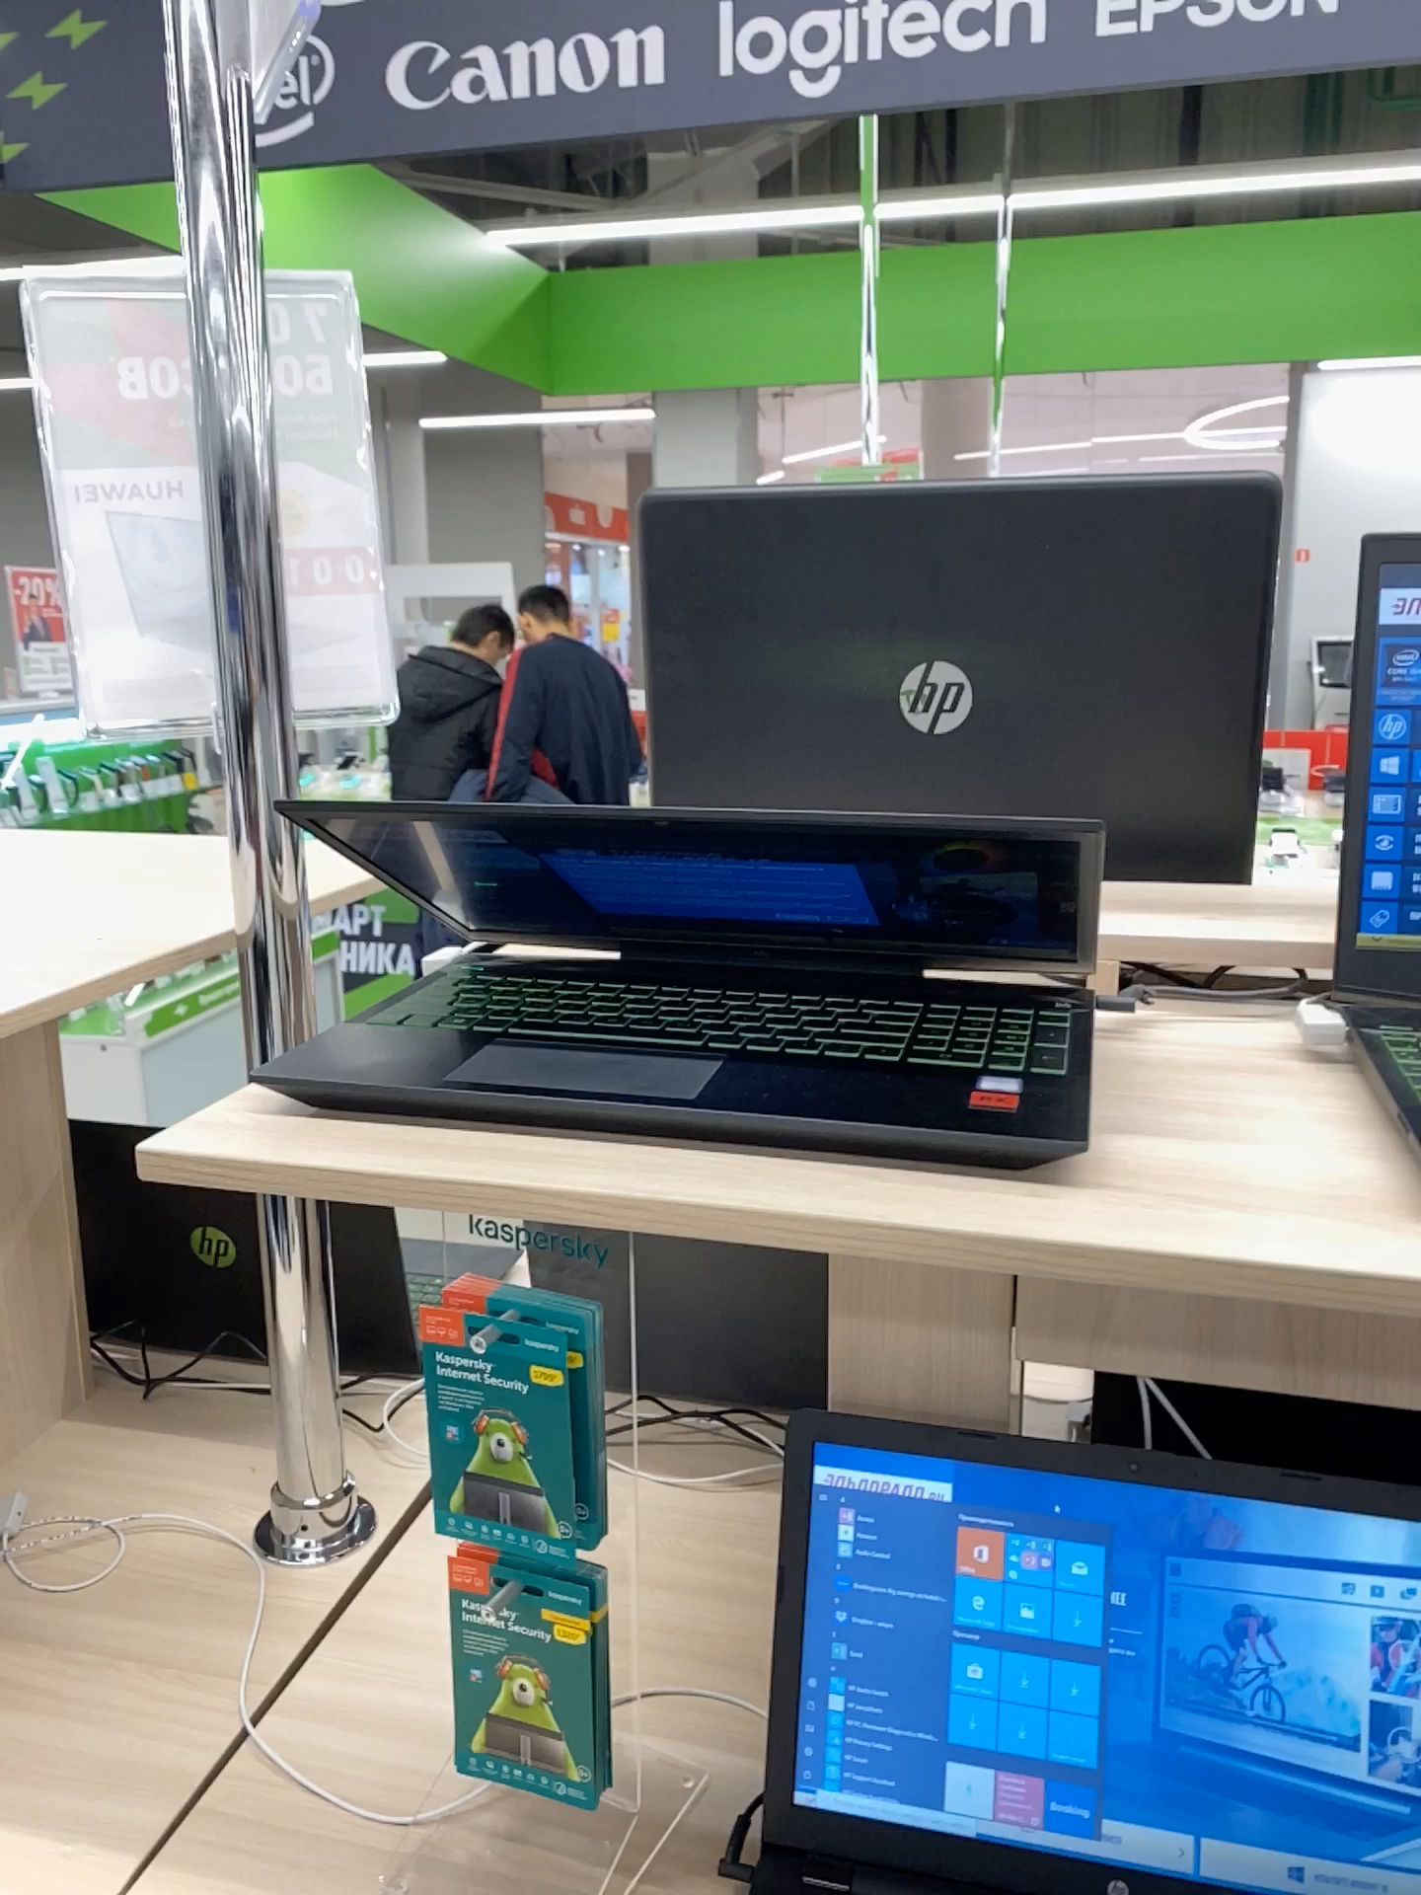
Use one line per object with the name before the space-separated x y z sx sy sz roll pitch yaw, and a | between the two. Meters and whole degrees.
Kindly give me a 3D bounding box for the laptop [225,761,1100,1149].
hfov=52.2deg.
laptop | -0.003 -0.017 0.704 0.365 0.115 0.244 3 13 15
